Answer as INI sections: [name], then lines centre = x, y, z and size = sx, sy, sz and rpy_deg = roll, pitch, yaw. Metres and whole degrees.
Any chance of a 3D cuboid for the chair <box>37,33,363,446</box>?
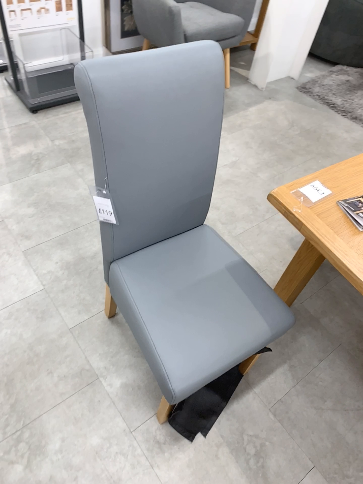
[chair]
centre = 0.011, 0.045, 1.071
size = 0.474, 0.908, 0.657
rpy_deg = -23, 58, -25
